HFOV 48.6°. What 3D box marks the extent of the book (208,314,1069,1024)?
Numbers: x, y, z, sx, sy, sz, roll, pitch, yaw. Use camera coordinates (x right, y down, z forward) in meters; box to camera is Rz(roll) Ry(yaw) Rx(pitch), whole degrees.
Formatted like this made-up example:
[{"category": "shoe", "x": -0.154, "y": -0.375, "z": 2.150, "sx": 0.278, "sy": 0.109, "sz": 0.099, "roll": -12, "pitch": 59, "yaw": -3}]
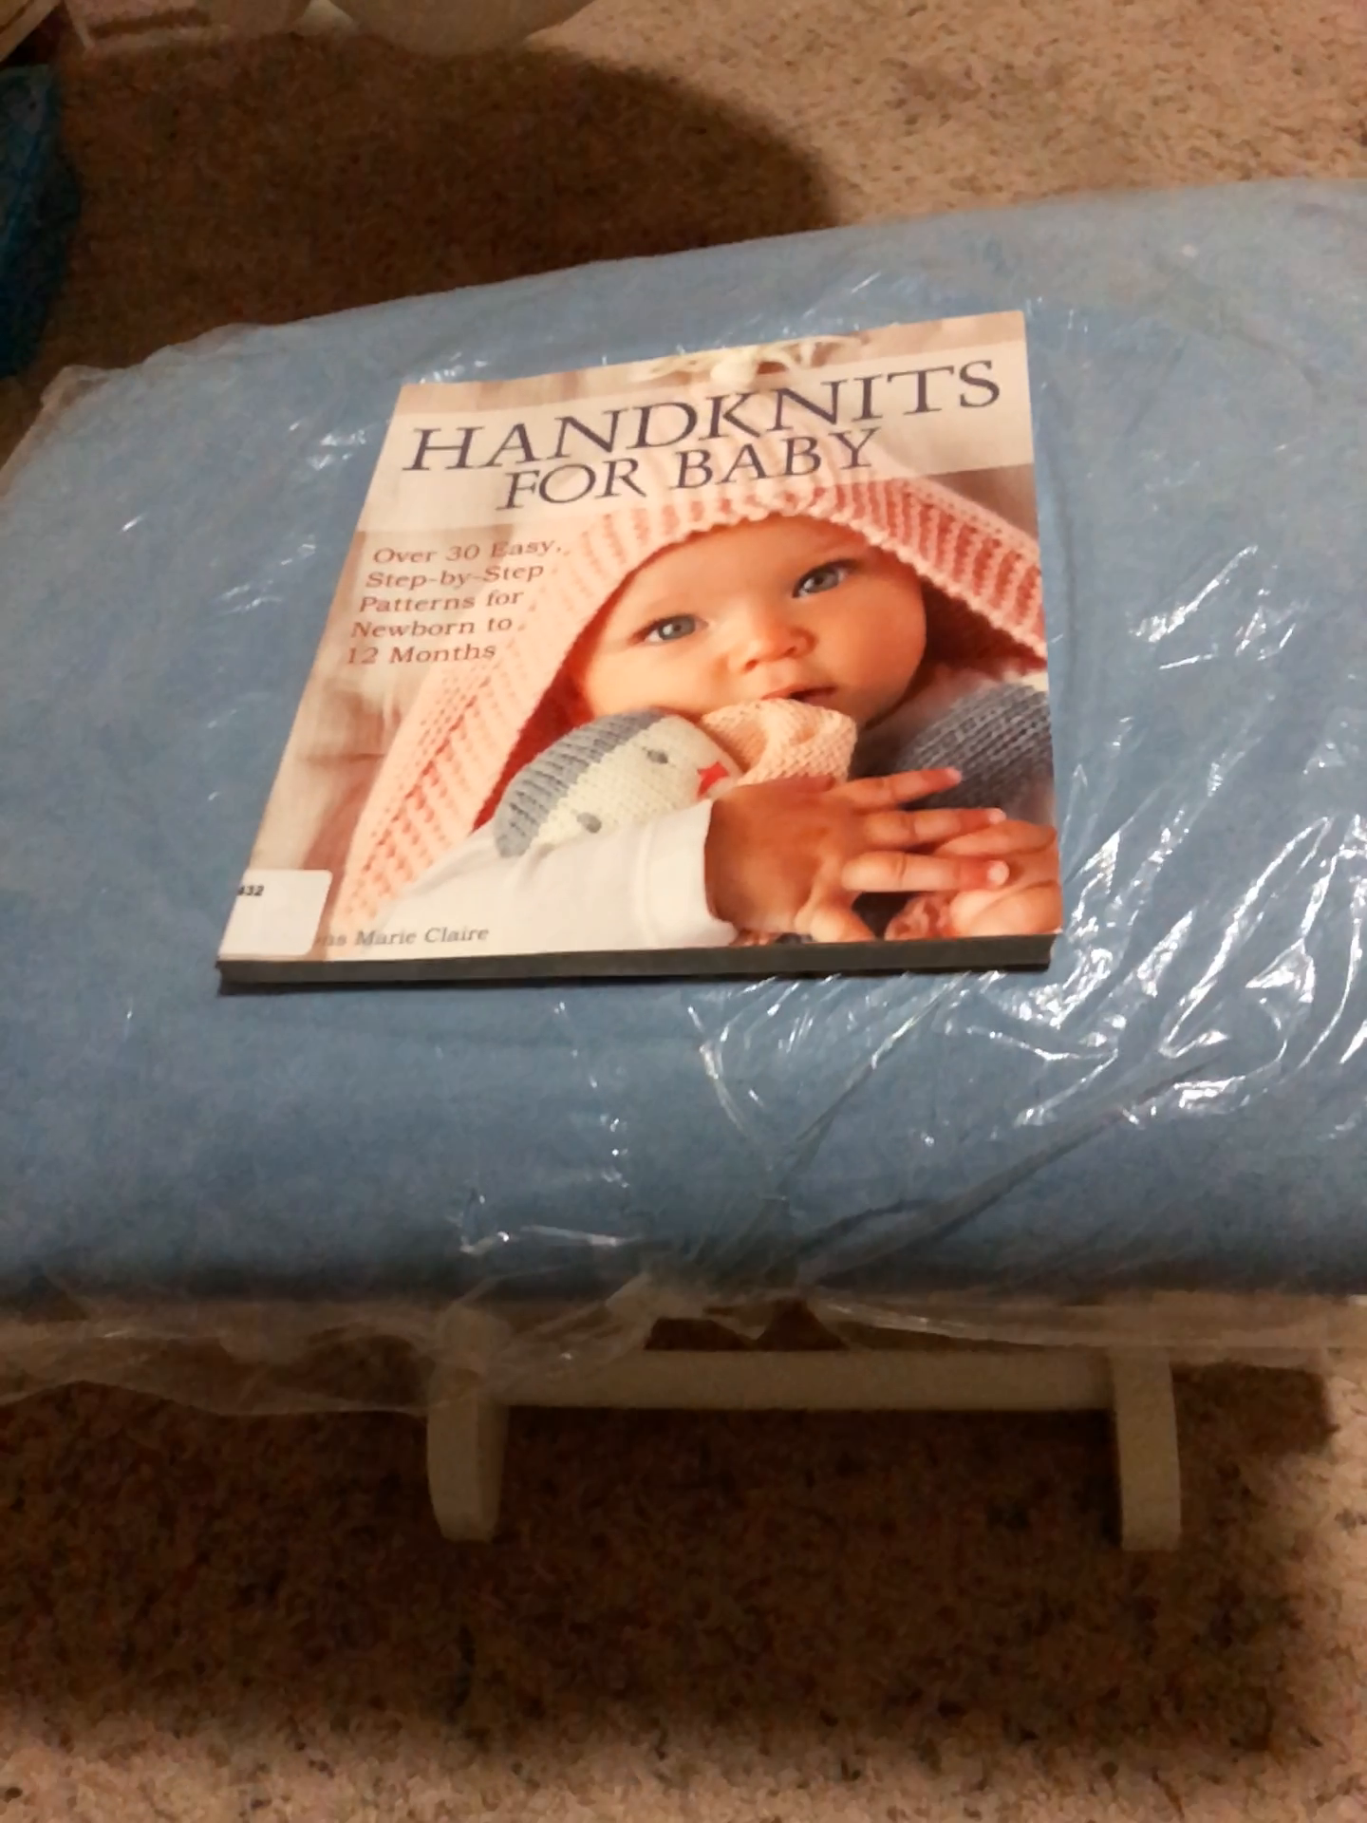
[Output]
[{"category": "book", "x": -0.004, "y": -0.072, "z": 0.405, "sx": 0.197, "sy": 0.020, "sz": 0.220, "roll": -2, "pitch": 55, "yaw": 12}]
